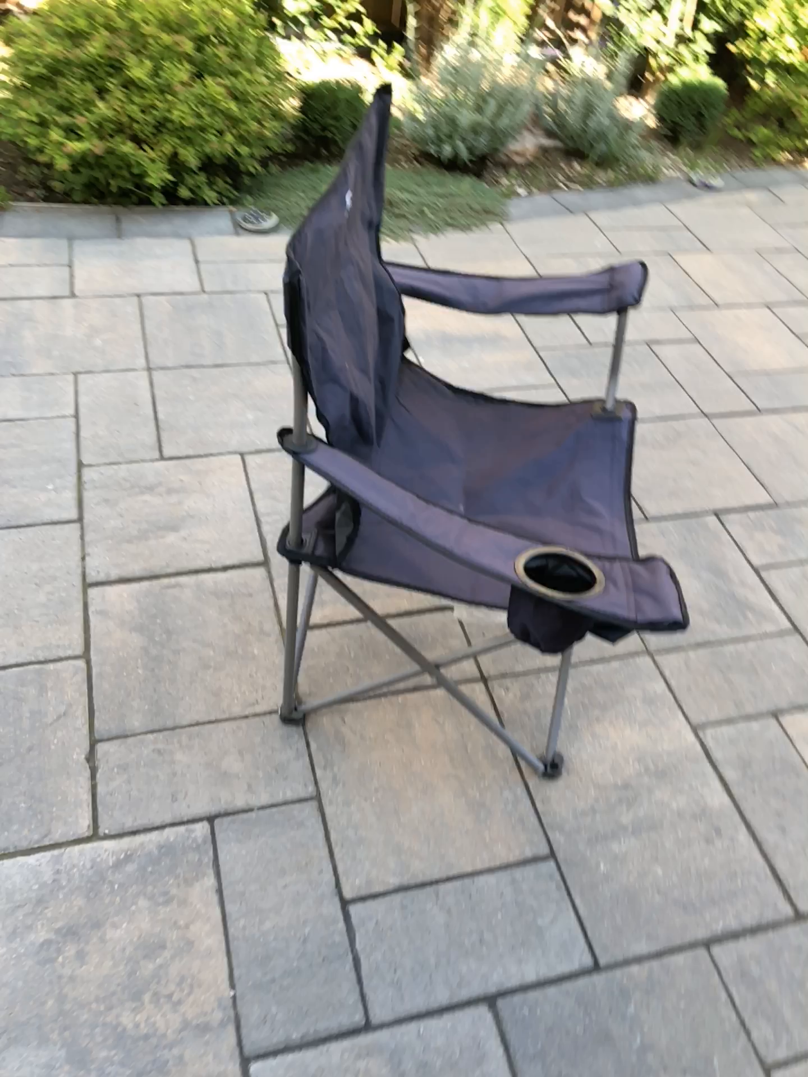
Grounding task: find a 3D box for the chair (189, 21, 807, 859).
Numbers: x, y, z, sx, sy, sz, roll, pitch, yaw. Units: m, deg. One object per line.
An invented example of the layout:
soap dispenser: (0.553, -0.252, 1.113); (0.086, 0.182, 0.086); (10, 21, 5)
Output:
chair: (0.112, -0.121, 1.238); (0.570, 0.817, 0.692); (11, 45, 2)
